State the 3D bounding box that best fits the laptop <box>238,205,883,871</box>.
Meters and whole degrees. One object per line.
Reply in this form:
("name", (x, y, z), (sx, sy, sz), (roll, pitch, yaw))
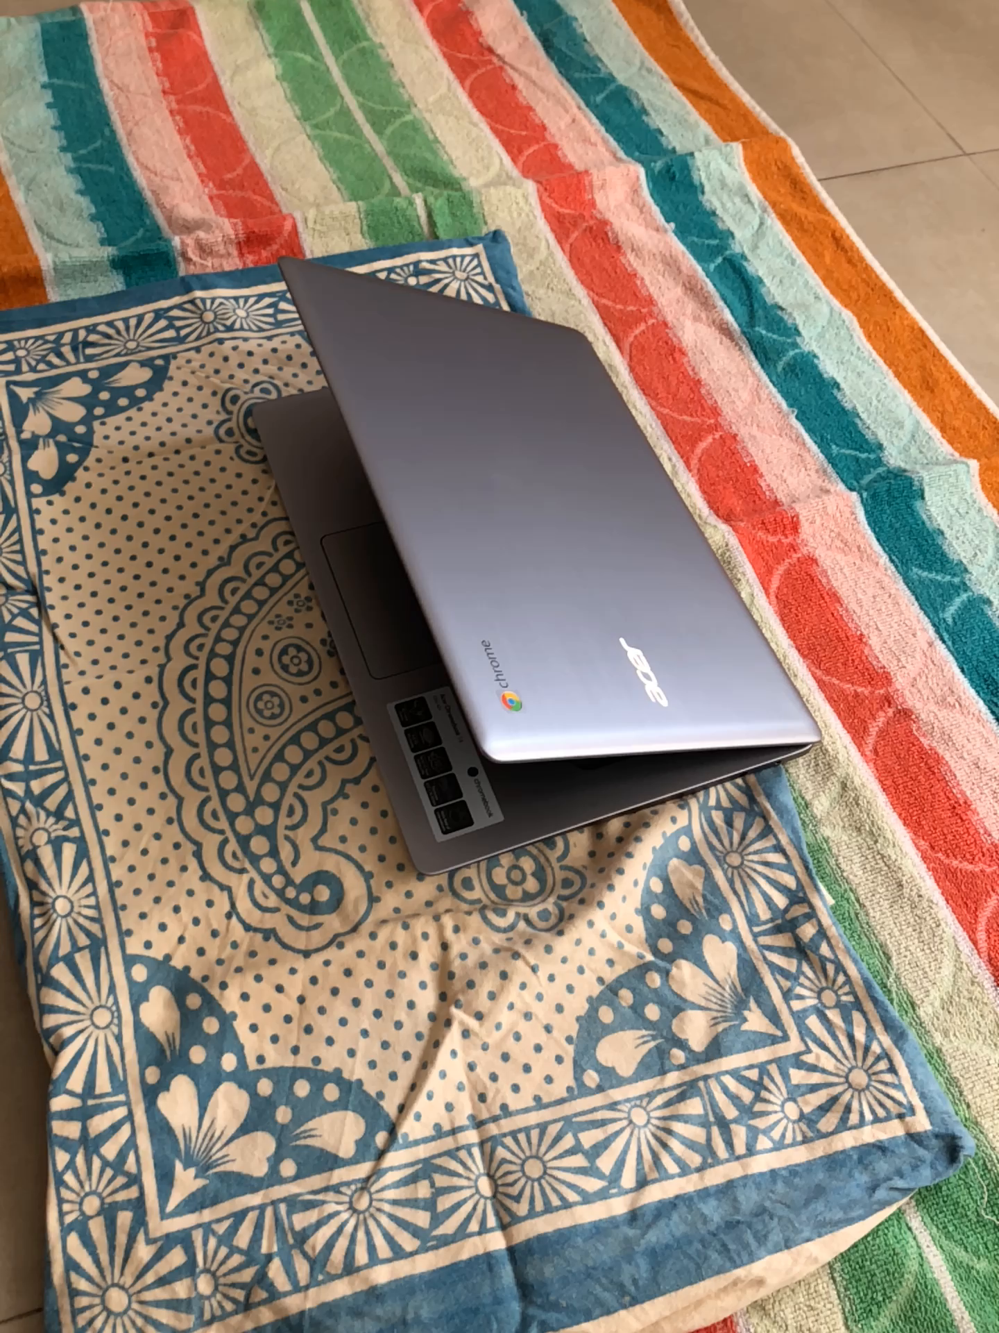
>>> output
("laptop", (0.012, -0.087, 0.596), (0.222, 0.105, 0.320), (-16, 60, -13))
